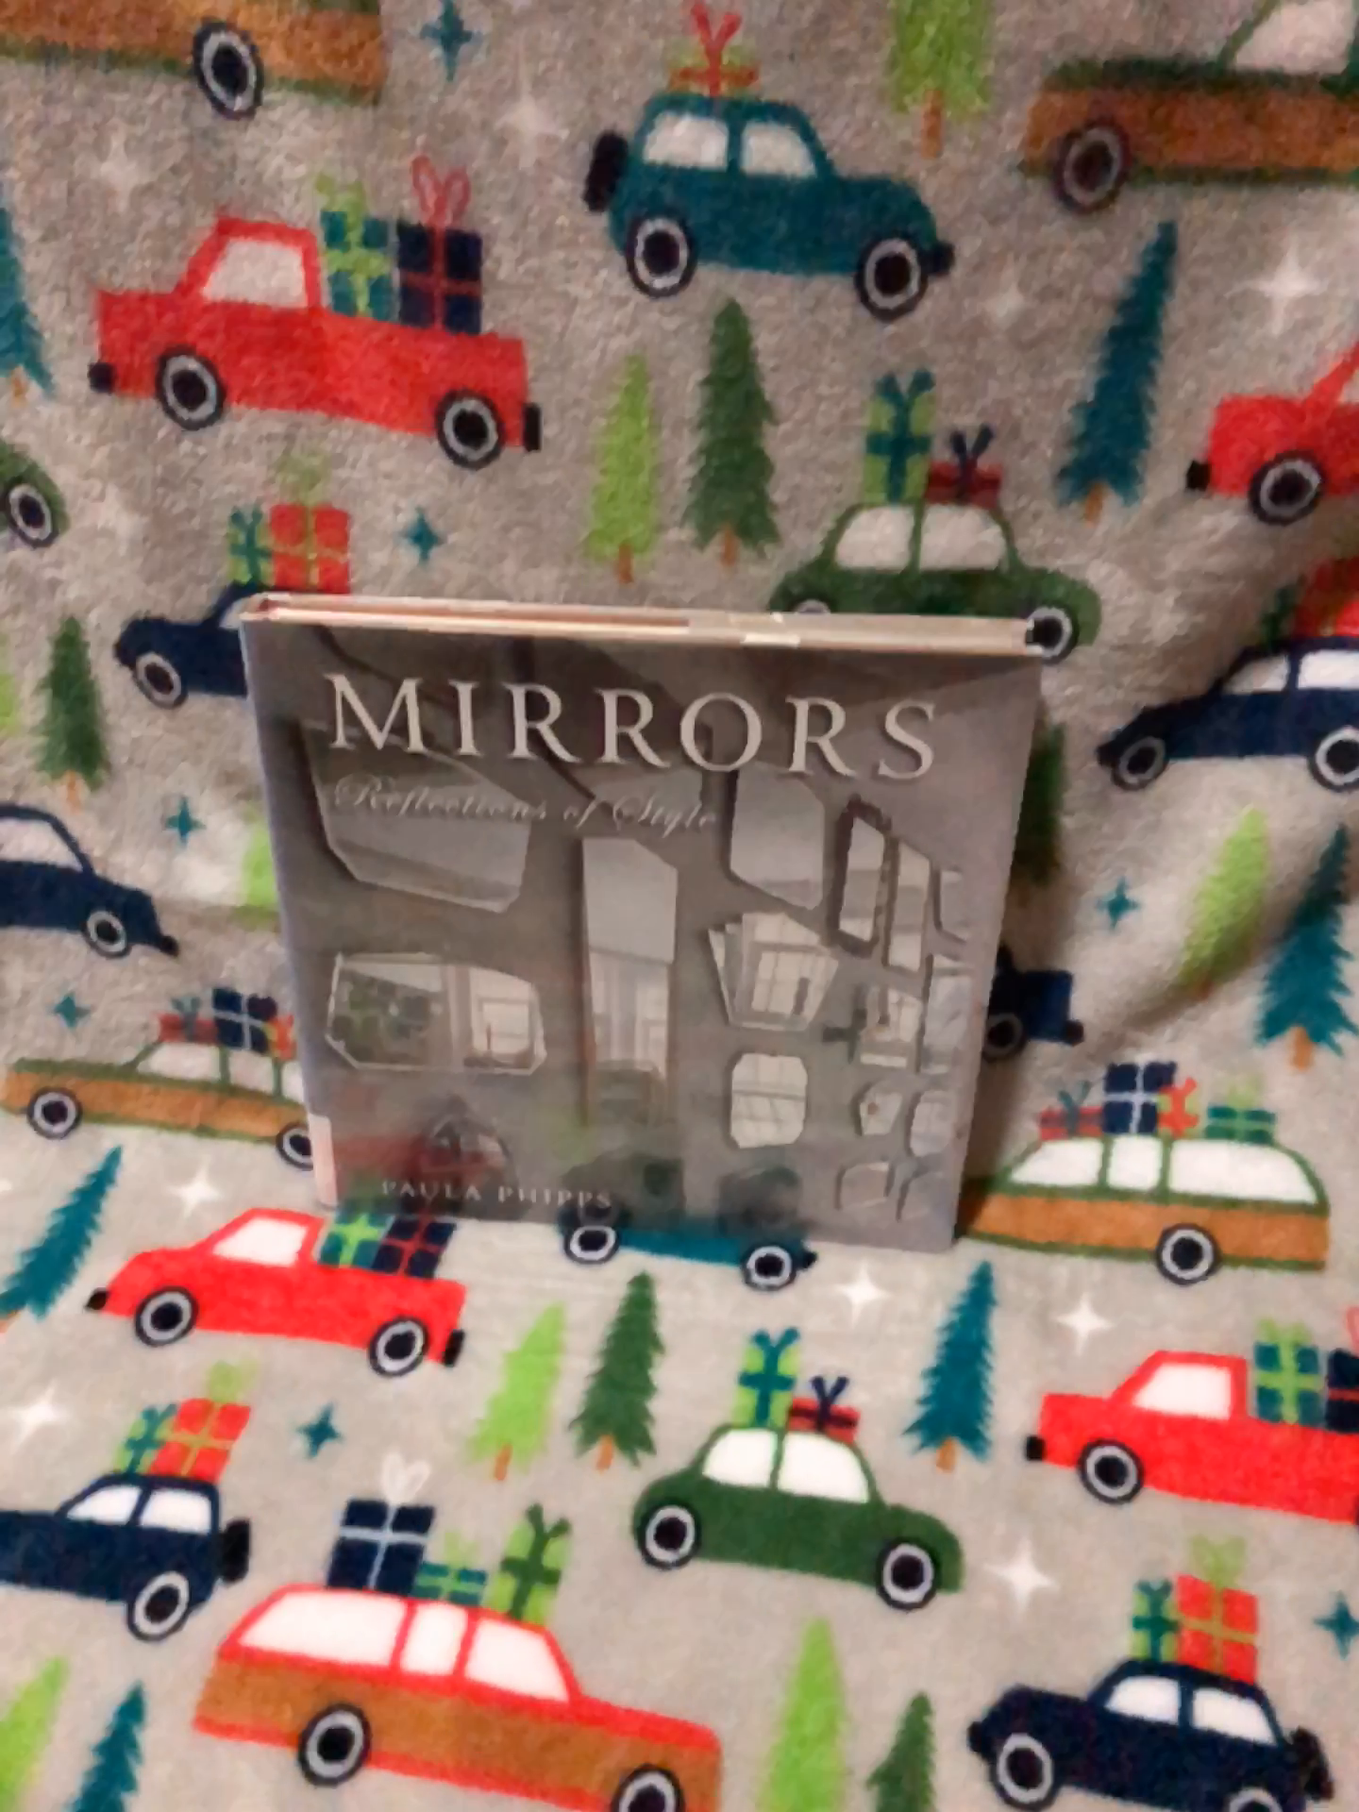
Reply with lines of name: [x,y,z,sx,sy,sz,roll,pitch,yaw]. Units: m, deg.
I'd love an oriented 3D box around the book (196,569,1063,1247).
book: [-0.015,0.009,0.453,0.223,0.208,0.030,3,32,3]
